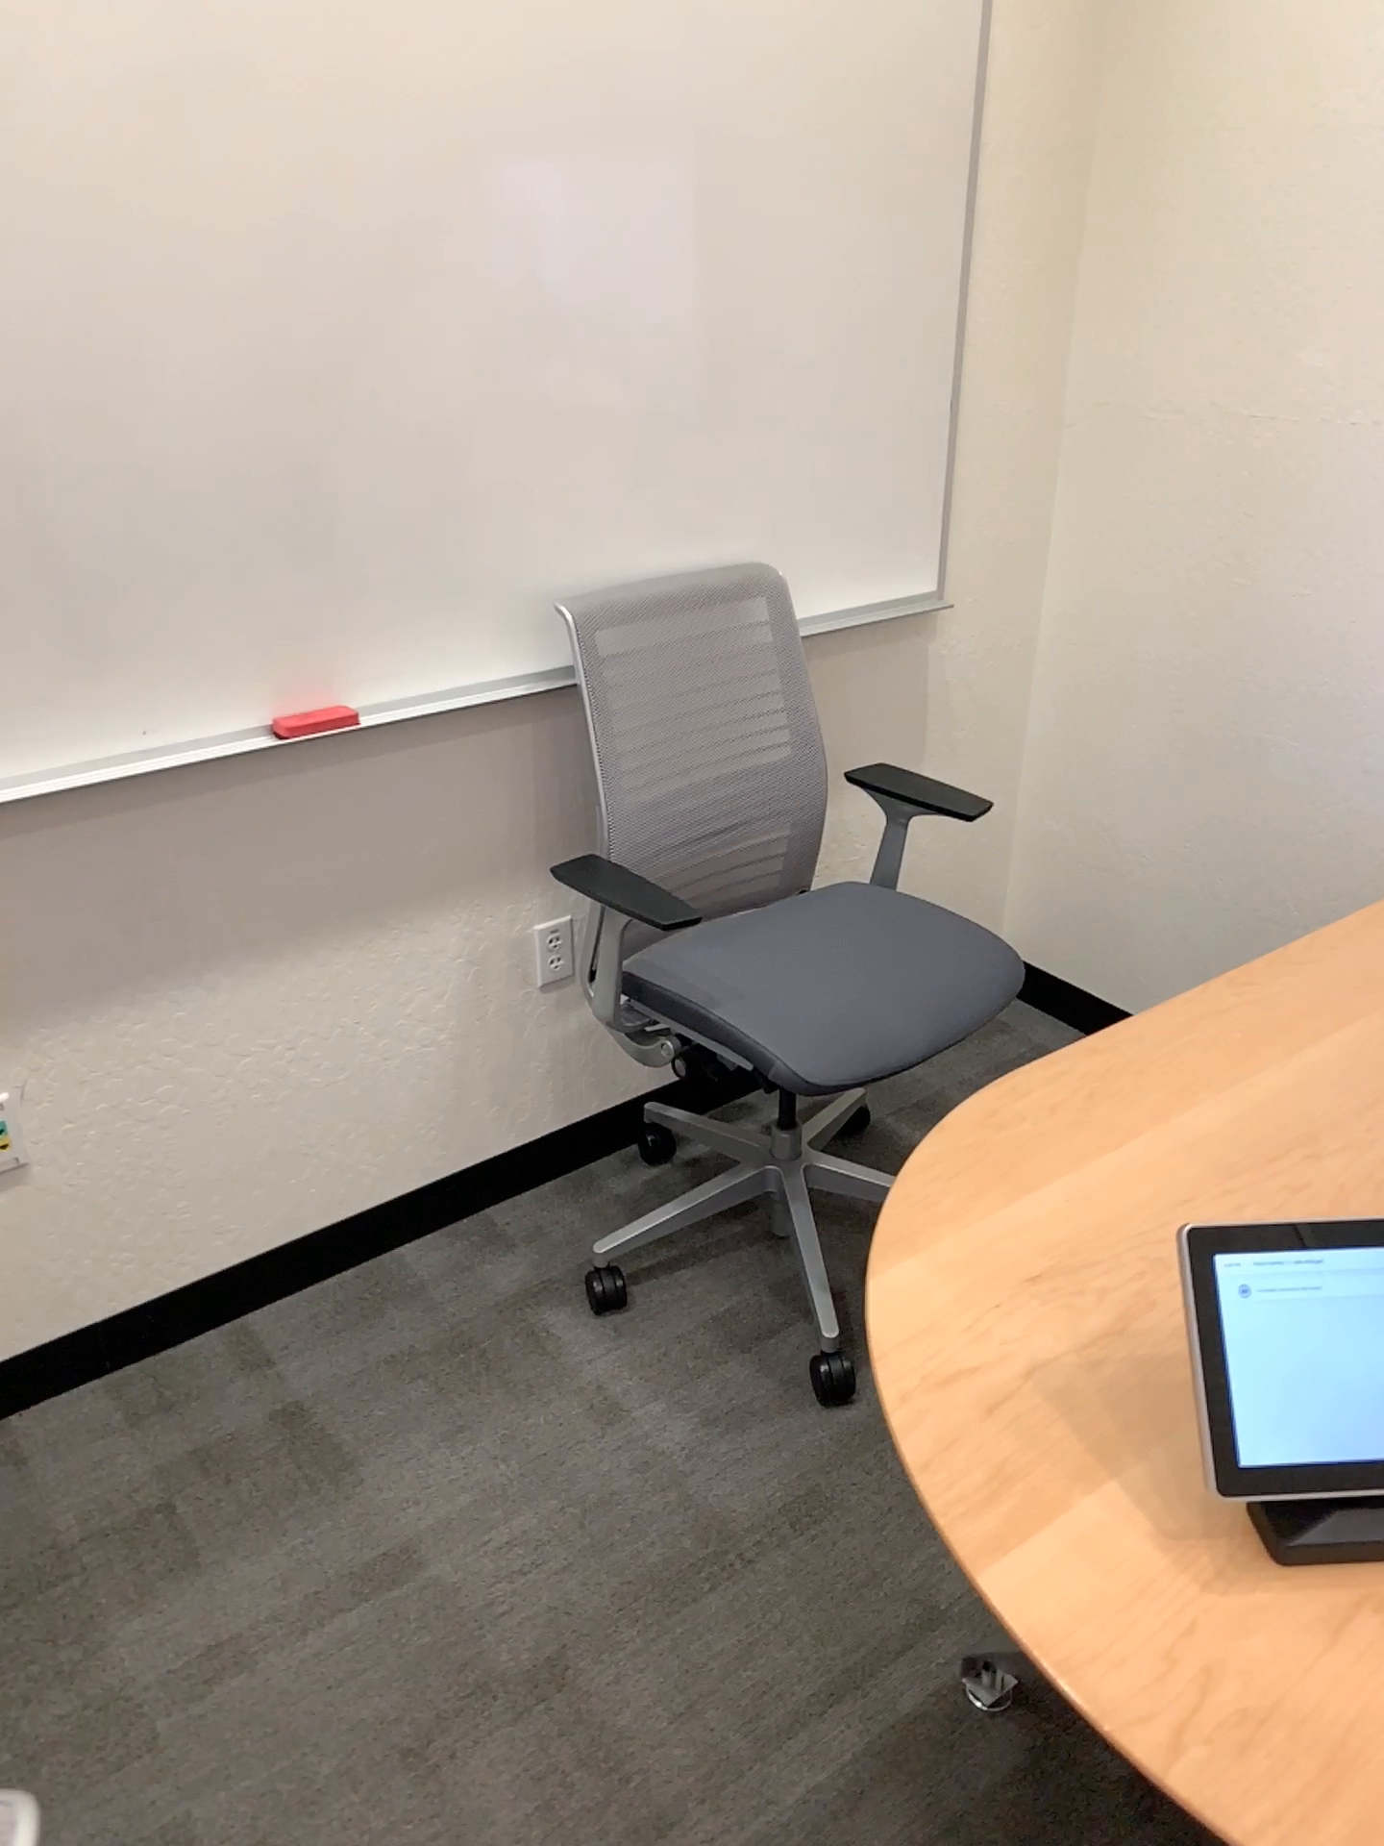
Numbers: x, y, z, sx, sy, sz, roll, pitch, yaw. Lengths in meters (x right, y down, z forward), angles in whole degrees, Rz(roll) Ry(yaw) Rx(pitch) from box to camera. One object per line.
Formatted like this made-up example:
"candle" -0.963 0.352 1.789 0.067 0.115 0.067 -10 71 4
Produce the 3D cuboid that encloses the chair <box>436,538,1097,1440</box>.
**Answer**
"chair" 0.108 0.041 2.524 0.761 1.263 0.753 -19 30 -38
